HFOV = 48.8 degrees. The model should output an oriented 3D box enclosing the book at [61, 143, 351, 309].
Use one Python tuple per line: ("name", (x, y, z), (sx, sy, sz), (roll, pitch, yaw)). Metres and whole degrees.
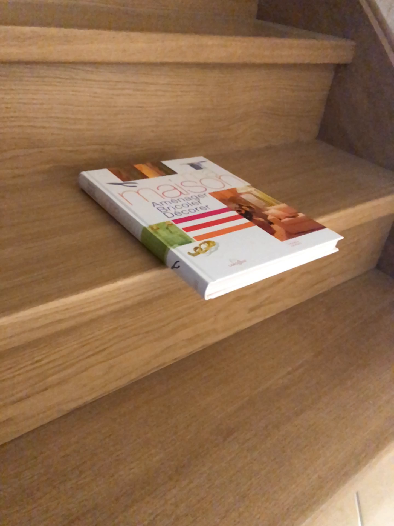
("book", (-0.004, -0.075, 0.539), (0.211, 0.030, 0.310), (-18, 41, -34))
